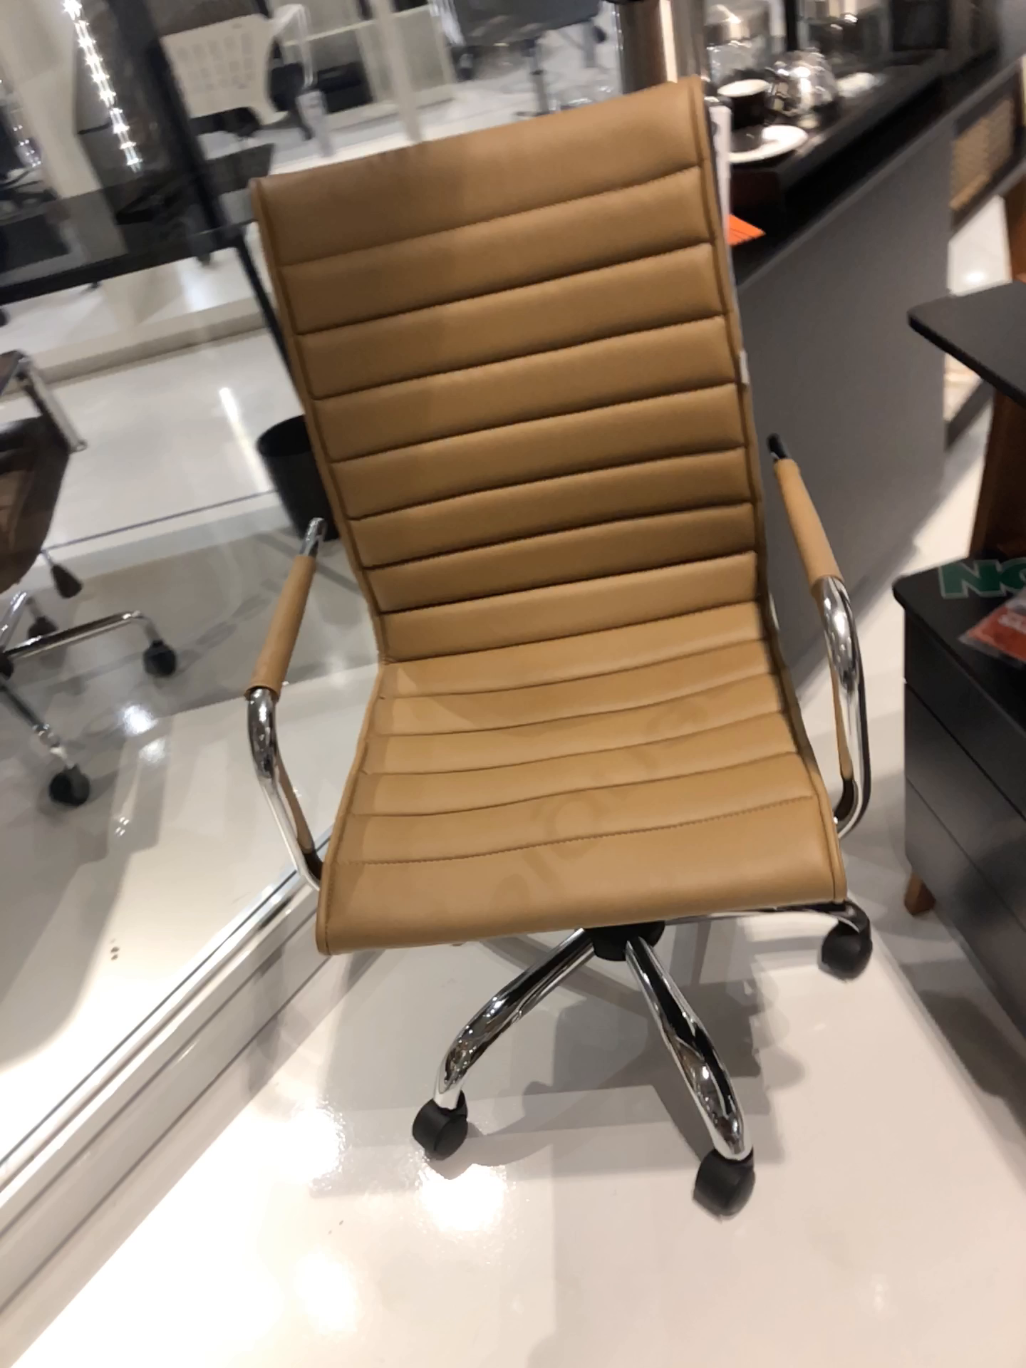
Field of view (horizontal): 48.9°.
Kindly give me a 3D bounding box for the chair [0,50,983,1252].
[{"bbox_3d":[0.051,0.018,1.124,0.600,0.943,0.615,-8,38,10],"label":"chair"}]
